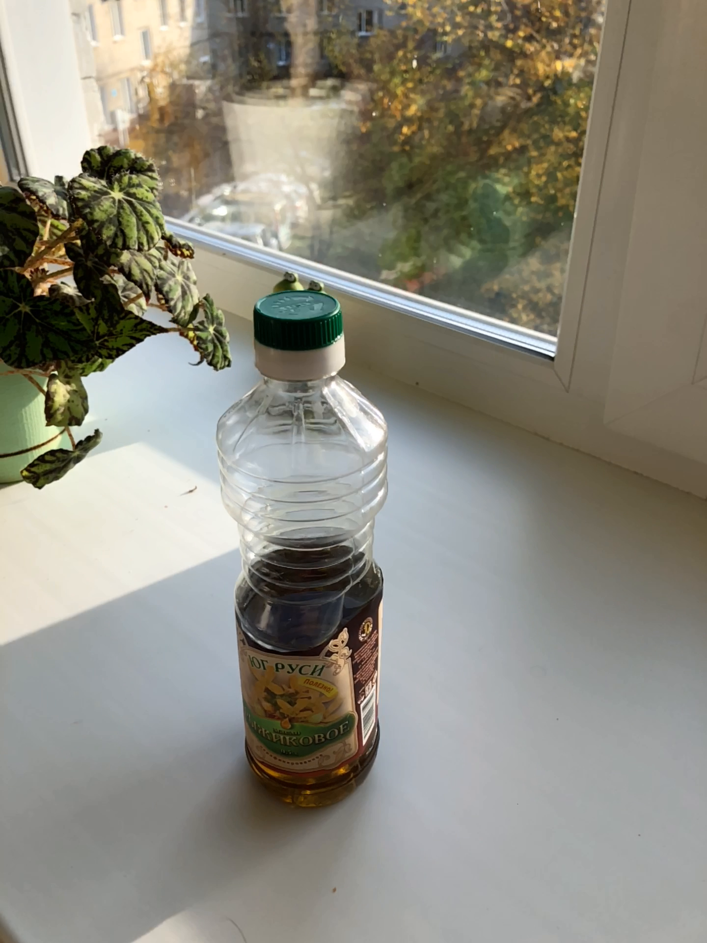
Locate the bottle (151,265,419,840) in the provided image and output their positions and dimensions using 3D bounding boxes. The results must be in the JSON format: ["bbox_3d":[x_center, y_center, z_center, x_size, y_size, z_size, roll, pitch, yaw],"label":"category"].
[{"bbox_3d":[-0.019,0.040,0.307,0.061,0.217,0.068,13,35,19],"label":"bottle"}]
